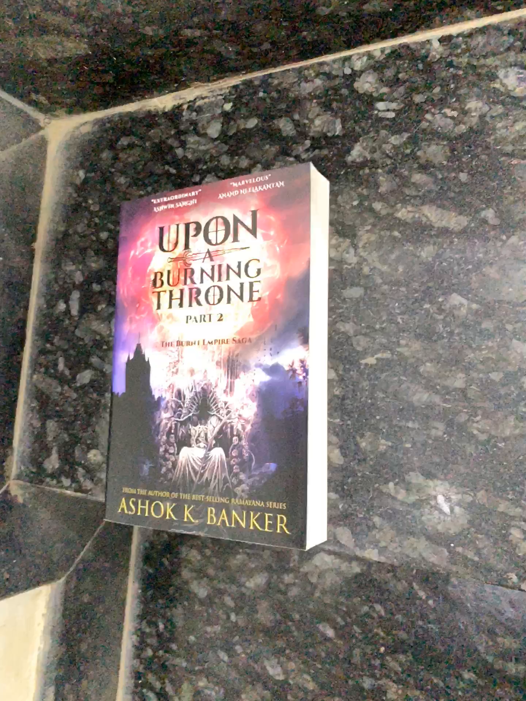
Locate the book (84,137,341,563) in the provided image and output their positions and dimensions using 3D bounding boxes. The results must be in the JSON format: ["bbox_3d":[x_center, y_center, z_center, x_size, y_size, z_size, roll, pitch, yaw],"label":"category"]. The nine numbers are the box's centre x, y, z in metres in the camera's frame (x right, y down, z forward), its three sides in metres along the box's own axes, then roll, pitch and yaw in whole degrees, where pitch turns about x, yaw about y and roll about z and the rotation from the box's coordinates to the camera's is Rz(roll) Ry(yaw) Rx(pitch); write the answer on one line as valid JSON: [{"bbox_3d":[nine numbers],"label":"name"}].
[{"bbox_3d":[-0.029,-0.001,0.300,0.140,0.030,0.200,-3,81,28],"label":"book"}]
